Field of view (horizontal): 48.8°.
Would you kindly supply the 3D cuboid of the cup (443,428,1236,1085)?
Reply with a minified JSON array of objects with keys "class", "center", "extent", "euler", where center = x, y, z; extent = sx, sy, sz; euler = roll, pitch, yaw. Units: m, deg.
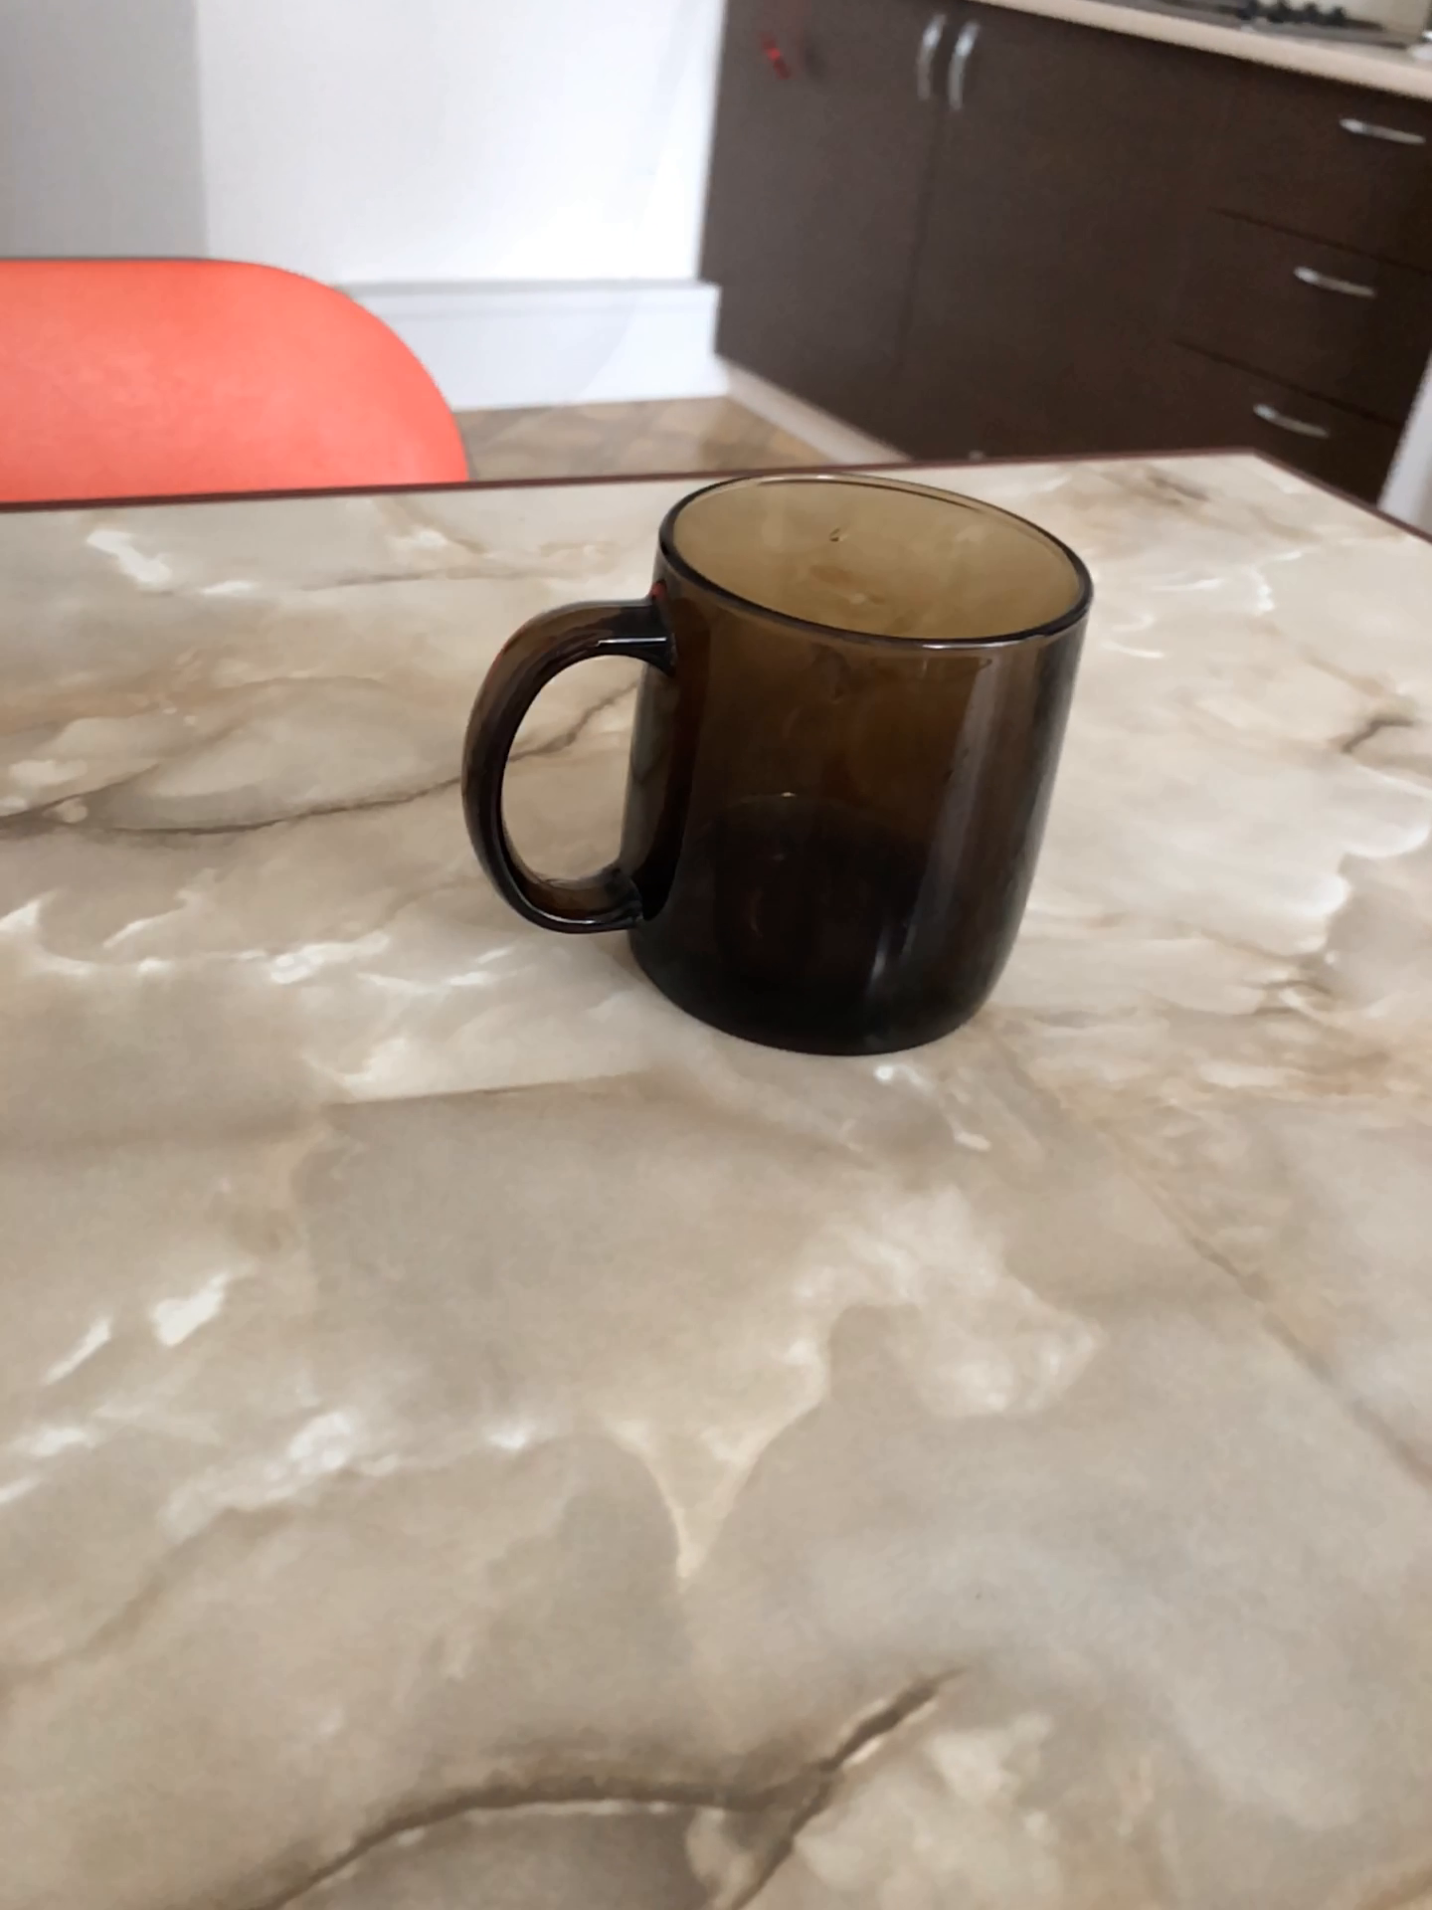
[{"class":"cup","center":[0.014,-0.043,0.314],"extent":[0.122,0.090,0.091],"euler":[-3,36,-16]}]
